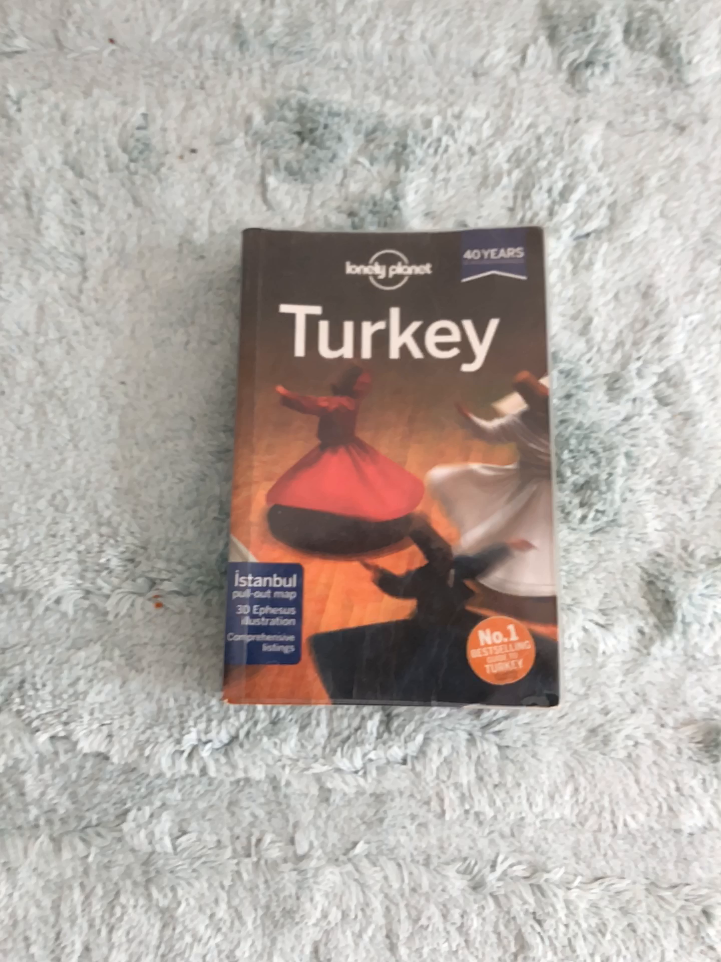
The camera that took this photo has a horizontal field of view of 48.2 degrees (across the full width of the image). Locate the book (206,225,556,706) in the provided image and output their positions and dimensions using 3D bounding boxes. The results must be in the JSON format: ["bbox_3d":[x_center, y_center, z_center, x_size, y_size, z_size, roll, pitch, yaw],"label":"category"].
[{"bbox_3d":[0.010,-0.007,0.339,0.130,0.046,0.190,1,80,1],"label":"book"}]
